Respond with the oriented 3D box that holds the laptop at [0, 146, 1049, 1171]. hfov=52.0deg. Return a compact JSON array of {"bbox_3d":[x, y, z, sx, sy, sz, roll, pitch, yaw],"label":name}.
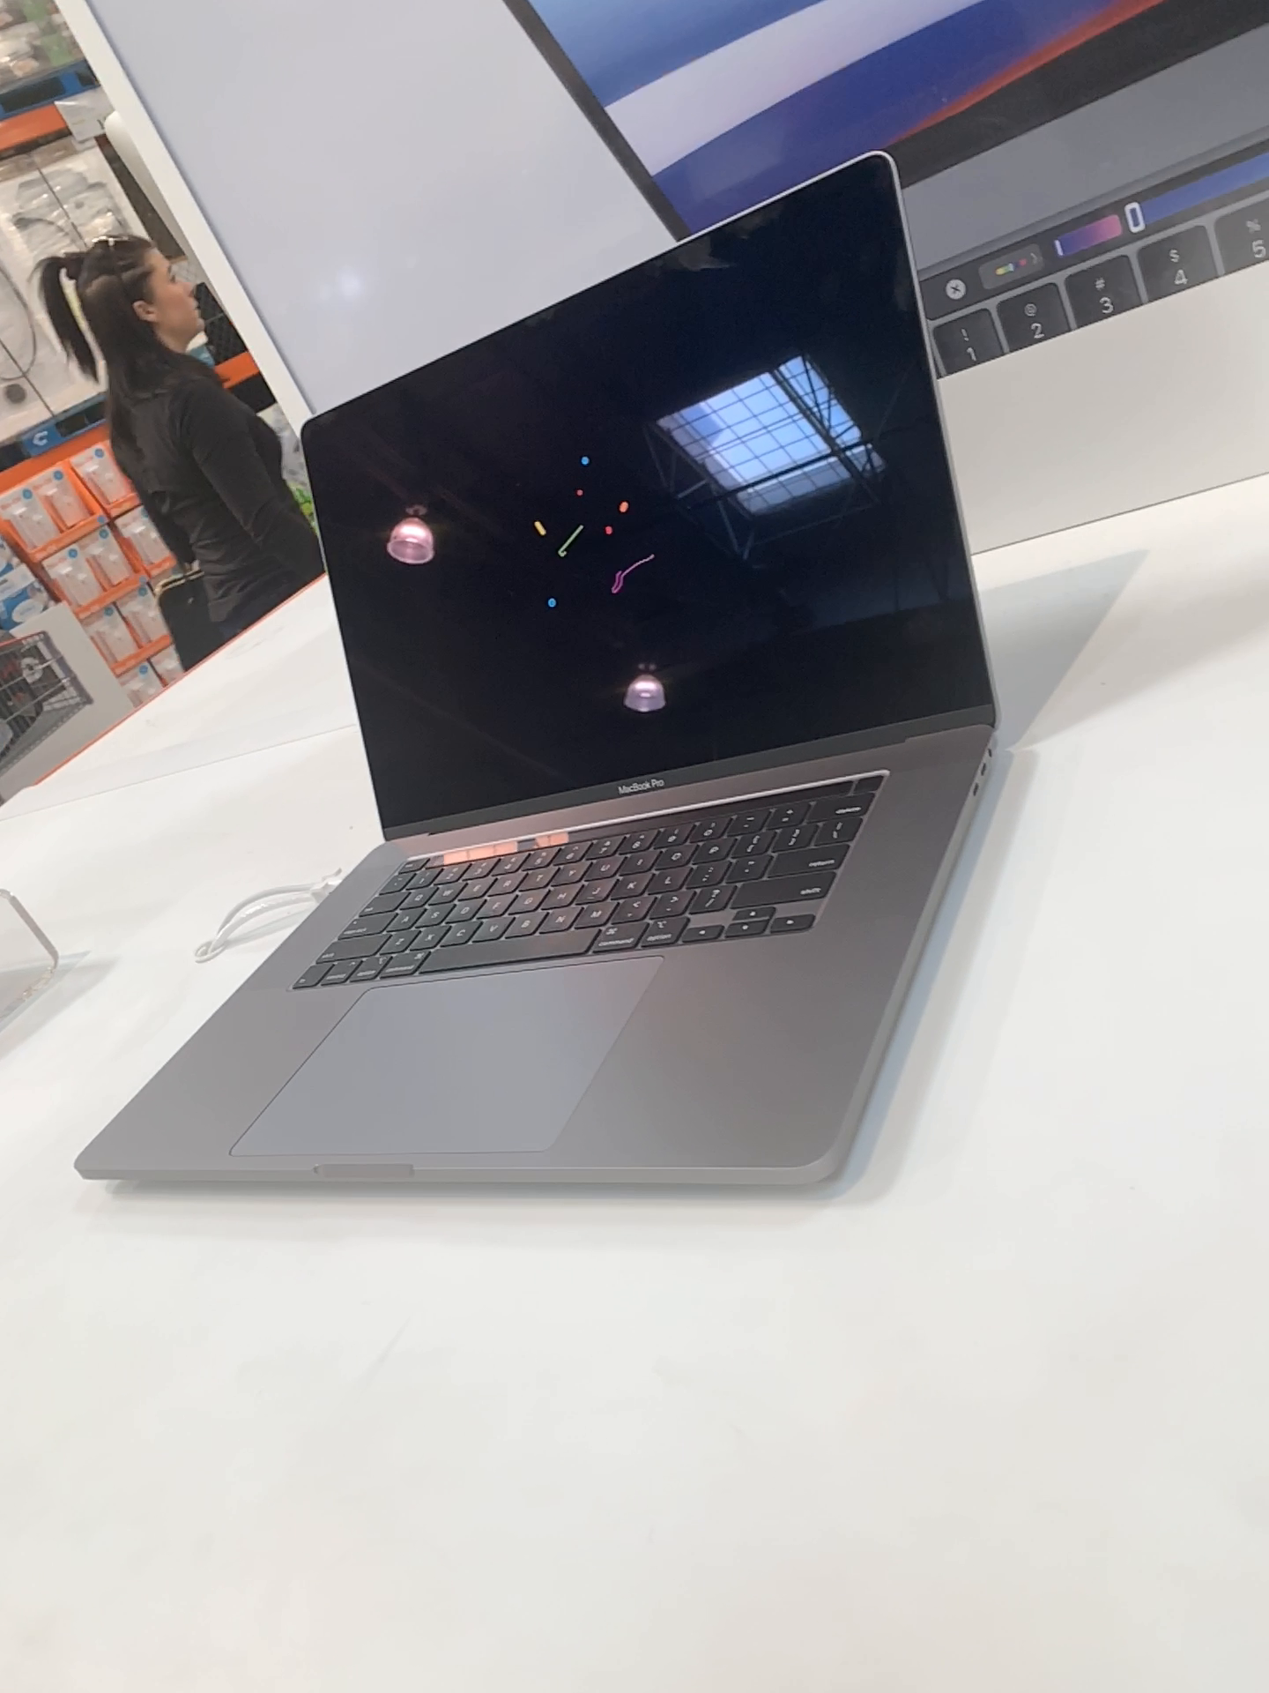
[{"bbox_3d":[-0.061,-0.073,0.527,0.341,0.203,0.346,-10,29,34],"label":"laptop"}]
